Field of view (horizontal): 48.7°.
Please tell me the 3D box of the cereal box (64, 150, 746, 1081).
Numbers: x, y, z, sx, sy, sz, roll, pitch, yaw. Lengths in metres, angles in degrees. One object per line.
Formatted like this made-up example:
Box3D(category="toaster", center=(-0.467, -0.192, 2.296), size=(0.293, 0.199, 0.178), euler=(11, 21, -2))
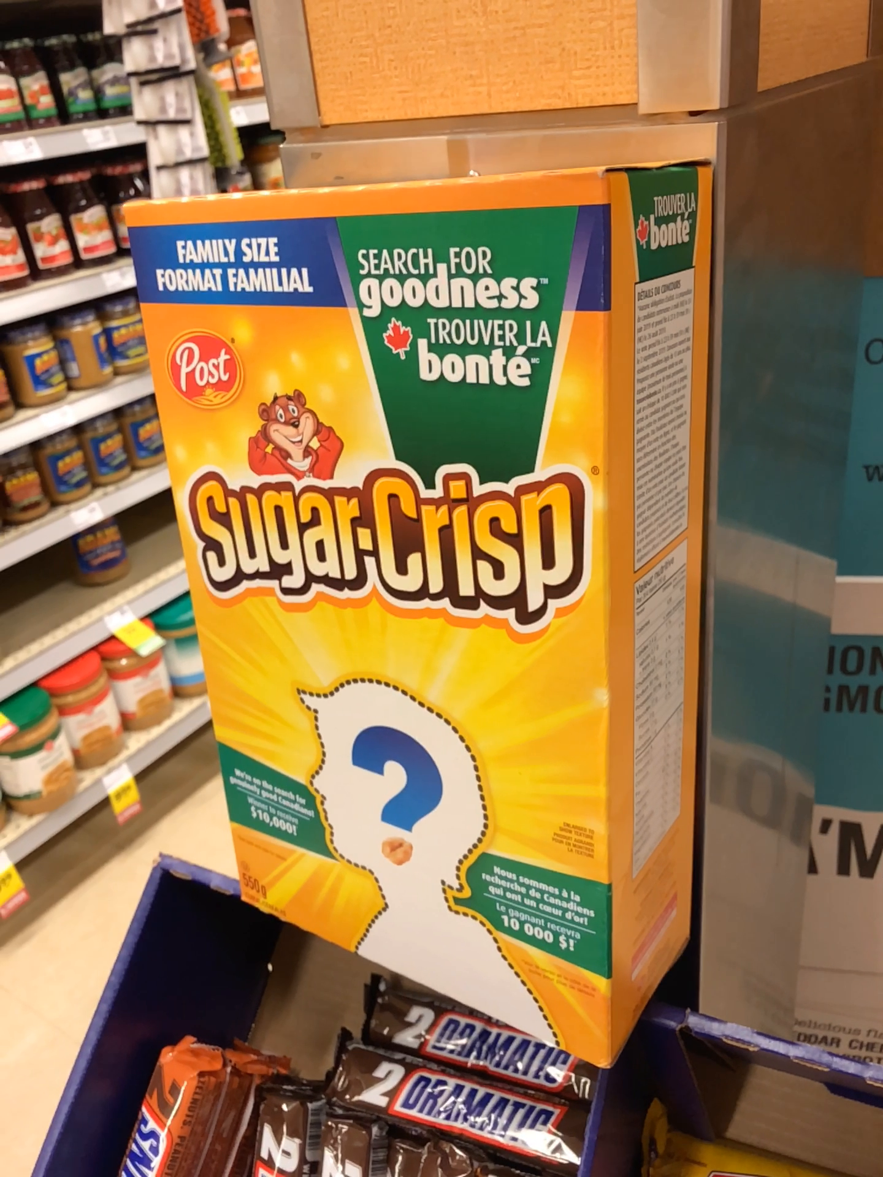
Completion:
Box3D(category="cereal box", center=(-0.014, 0.002, 0.377), size=(0.221, 0.298, 0.080), euler=(11, 26, 32))
